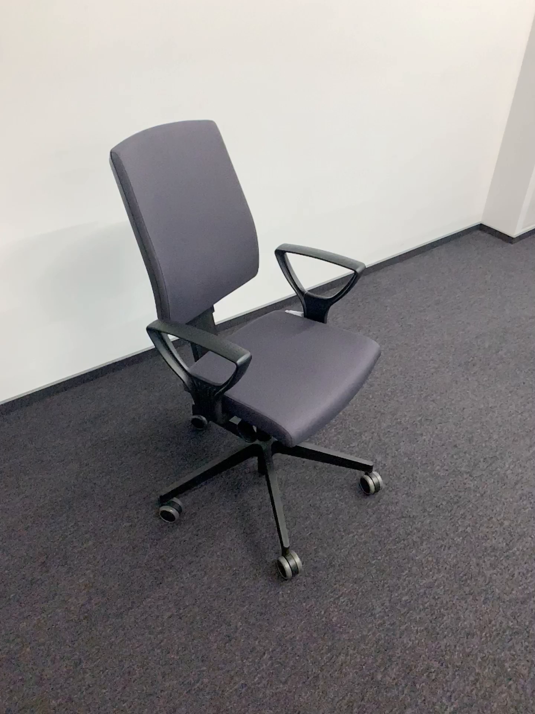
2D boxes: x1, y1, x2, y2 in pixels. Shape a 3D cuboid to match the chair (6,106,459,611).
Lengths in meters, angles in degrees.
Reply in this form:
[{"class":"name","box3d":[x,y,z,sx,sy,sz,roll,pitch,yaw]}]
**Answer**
[{"class":"chair","box3d":[-0.051,-0.062,1.553,0.781,1.034,0.703,22,41,32]}]
